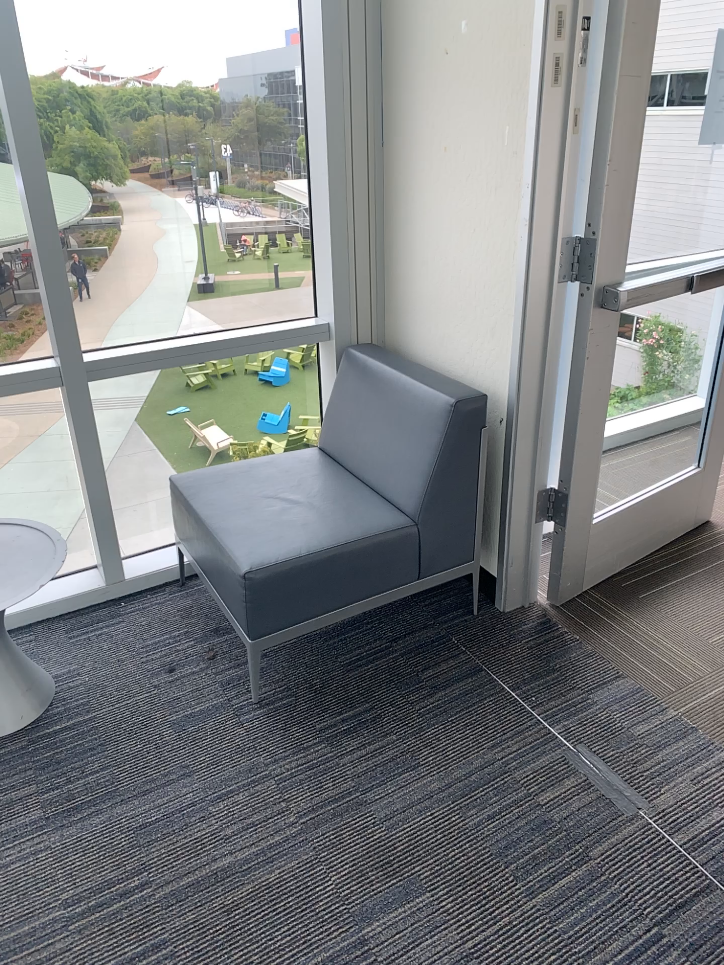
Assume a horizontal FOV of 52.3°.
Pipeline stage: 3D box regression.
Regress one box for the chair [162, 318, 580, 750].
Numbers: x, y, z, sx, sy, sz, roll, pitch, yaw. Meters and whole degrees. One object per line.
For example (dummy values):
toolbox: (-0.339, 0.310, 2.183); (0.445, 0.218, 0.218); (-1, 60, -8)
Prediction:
chair: (-0.011, 0.056, 2.623); (1.000, 0.995, 1.005); (-14, 27, -28)
